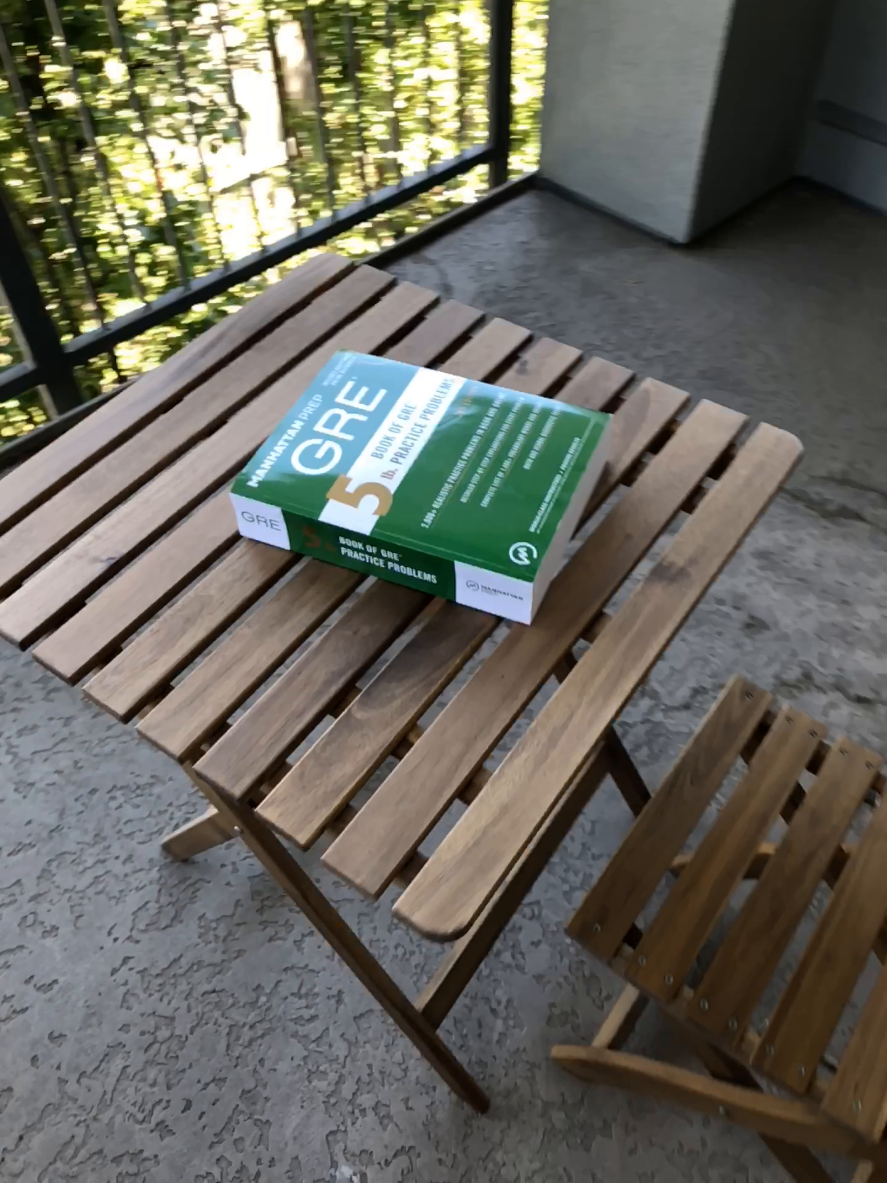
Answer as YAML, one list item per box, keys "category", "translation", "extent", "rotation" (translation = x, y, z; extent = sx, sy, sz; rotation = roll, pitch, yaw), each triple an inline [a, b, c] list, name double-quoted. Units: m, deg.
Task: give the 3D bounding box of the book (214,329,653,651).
- category: "book"
  translation: [-0.001, -0.105, 0.878]
  extent: [0.310, 0.060, 0.251]
  rotation: [17, 53, 15]
